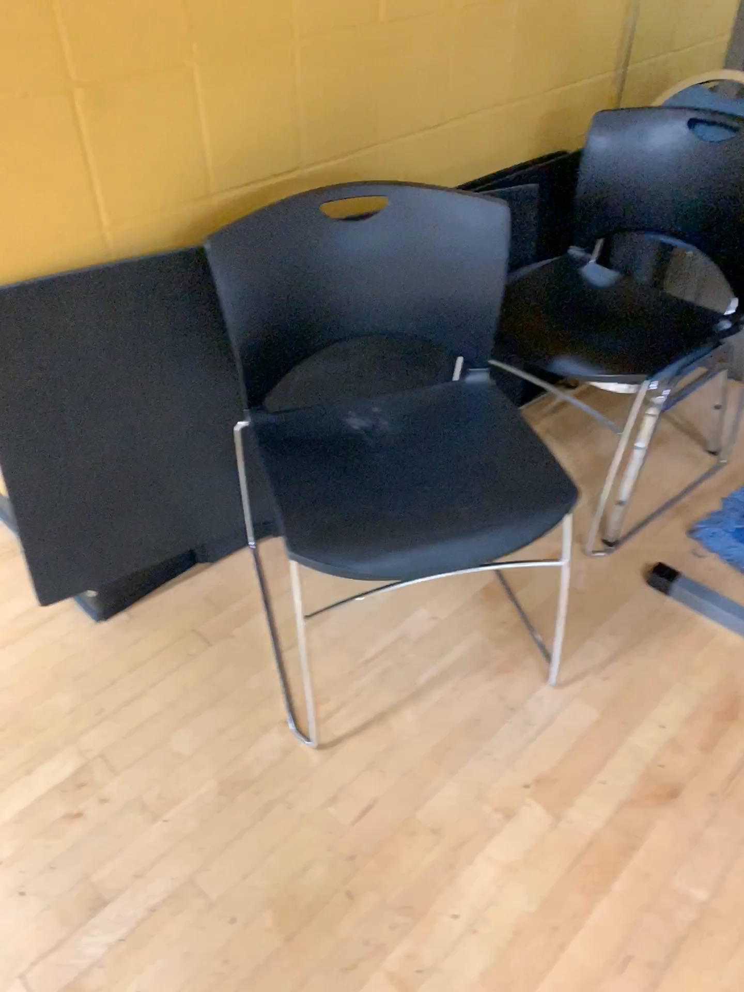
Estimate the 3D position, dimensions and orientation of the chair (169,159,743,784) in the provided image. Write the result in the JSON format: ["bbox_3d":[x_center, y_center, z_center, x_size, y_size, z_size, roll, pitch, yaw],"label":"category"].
[{"bbox_3d":[0.060,-0.083,1.355,0.636,0.722,0.730,-11,43,-14],"label":"chair"}]

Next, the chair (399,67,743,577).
[{"bbox_3d":[0.595,-0.450,1.765,0.778,0.761,0.678,-29,50,-30],"label":"chair"}]
